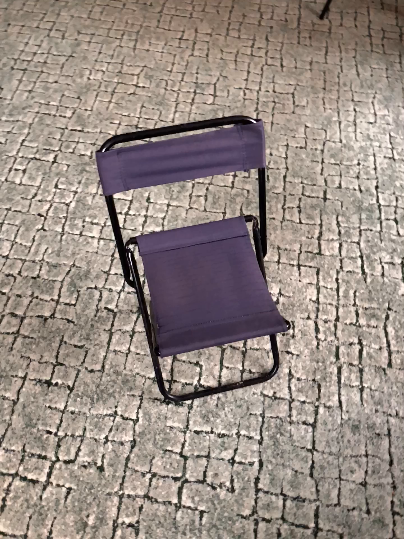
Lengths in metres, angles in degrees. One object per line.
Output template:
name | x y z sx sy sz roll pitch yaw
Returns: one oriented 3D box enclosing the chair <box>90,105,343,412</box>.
chair | -0.001 0.013 0.984 0.341 0.537 0.400 -12 60 -8
